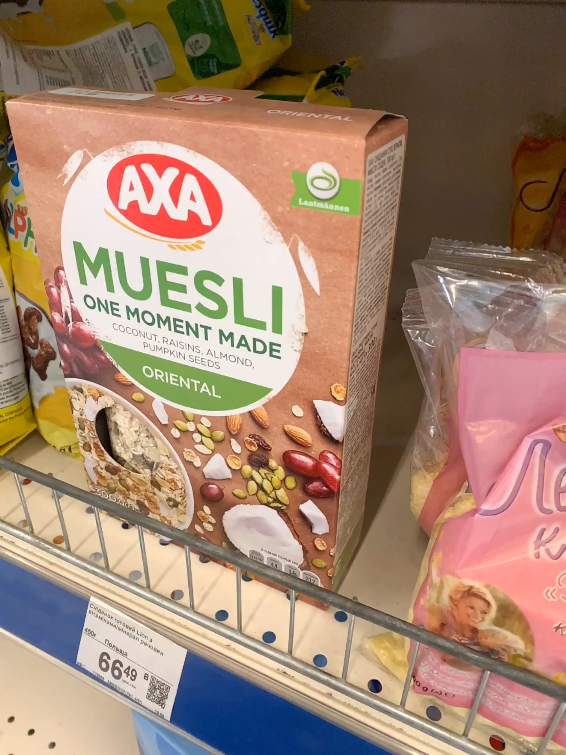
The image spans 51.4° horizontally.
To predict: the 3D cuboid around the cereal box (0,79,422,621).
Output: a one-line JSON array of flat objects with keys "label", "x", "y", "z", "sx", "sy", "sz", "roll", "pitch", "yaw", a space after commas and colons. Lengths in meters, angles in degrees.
[{"label": "cereal box", "x": -0.032, "y": -0.008, "z": 0.269, "sx": 0.150, "sy": 0.218, "sz": 0.050, "roll": 16, "pitch": 36, "yaw": 23}]
